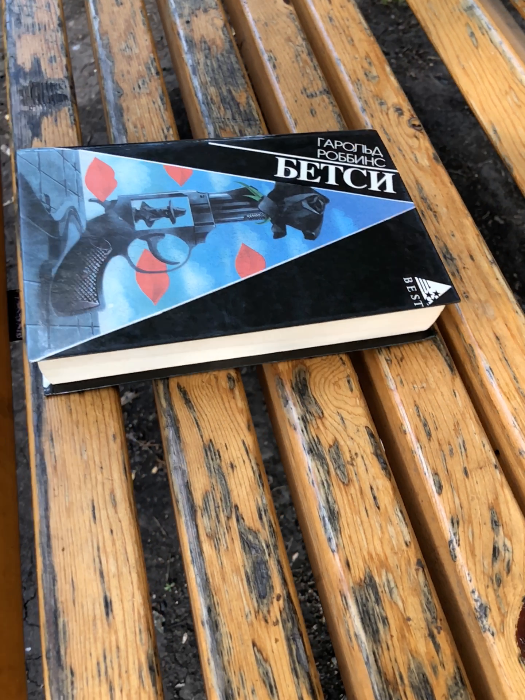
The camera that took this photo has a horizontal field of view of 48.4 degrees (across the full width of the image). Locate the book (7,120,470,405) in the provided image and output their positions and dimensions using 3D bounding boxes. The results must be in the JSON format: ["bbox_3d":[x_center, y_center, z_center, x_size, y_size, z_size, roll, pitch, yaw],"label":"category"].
[{"bbox_3d":[-0.017,-0.055,0.312,0.210,0.045,0.130,-8,62,-13],"label":"book"}]
